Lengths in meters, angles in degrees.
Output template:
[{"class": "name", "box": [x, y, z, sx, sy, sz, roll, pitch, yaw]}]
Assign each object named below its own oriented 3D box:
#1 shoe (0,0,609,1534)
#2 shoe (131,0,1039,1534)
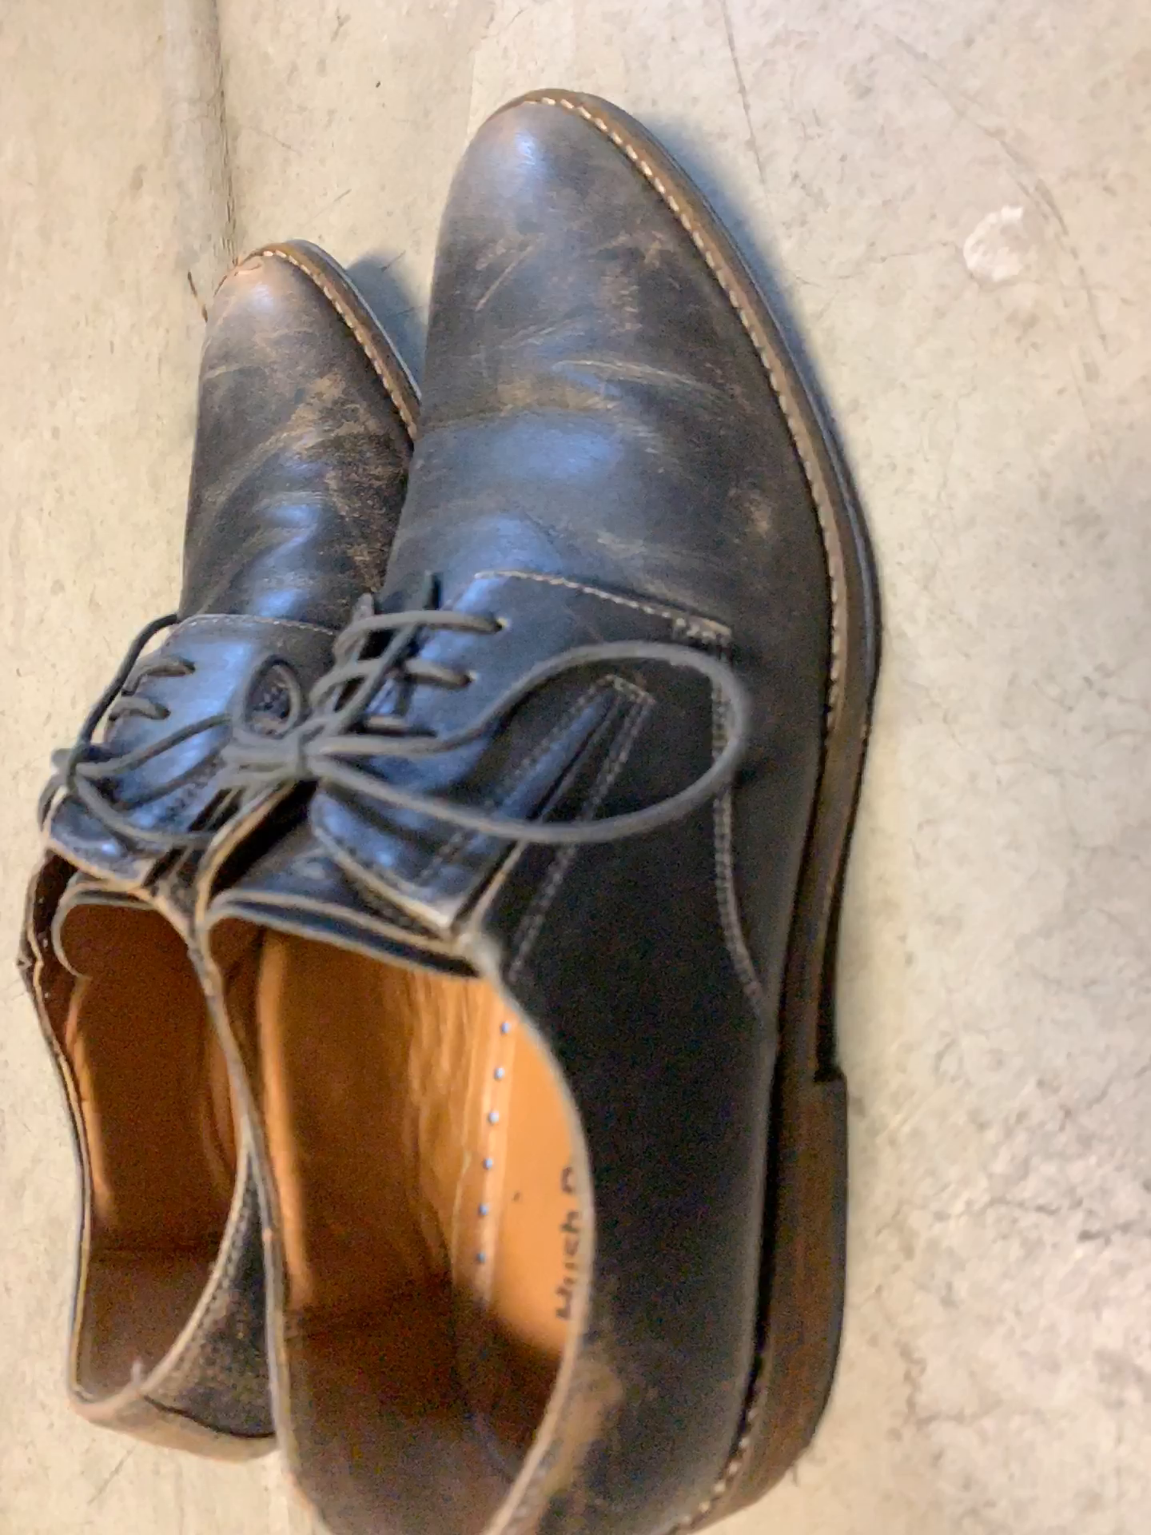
[{"class": "shoe", "box": [-0.086, -0.003, 0.309, 0.110, 0.119, 0.310, -15, 75, 38]}, {"class": "shoe", "box": [-0.004, -0.012, 0.238, 0.110, 0.119, 0.304, -13, 76, 39]}]
